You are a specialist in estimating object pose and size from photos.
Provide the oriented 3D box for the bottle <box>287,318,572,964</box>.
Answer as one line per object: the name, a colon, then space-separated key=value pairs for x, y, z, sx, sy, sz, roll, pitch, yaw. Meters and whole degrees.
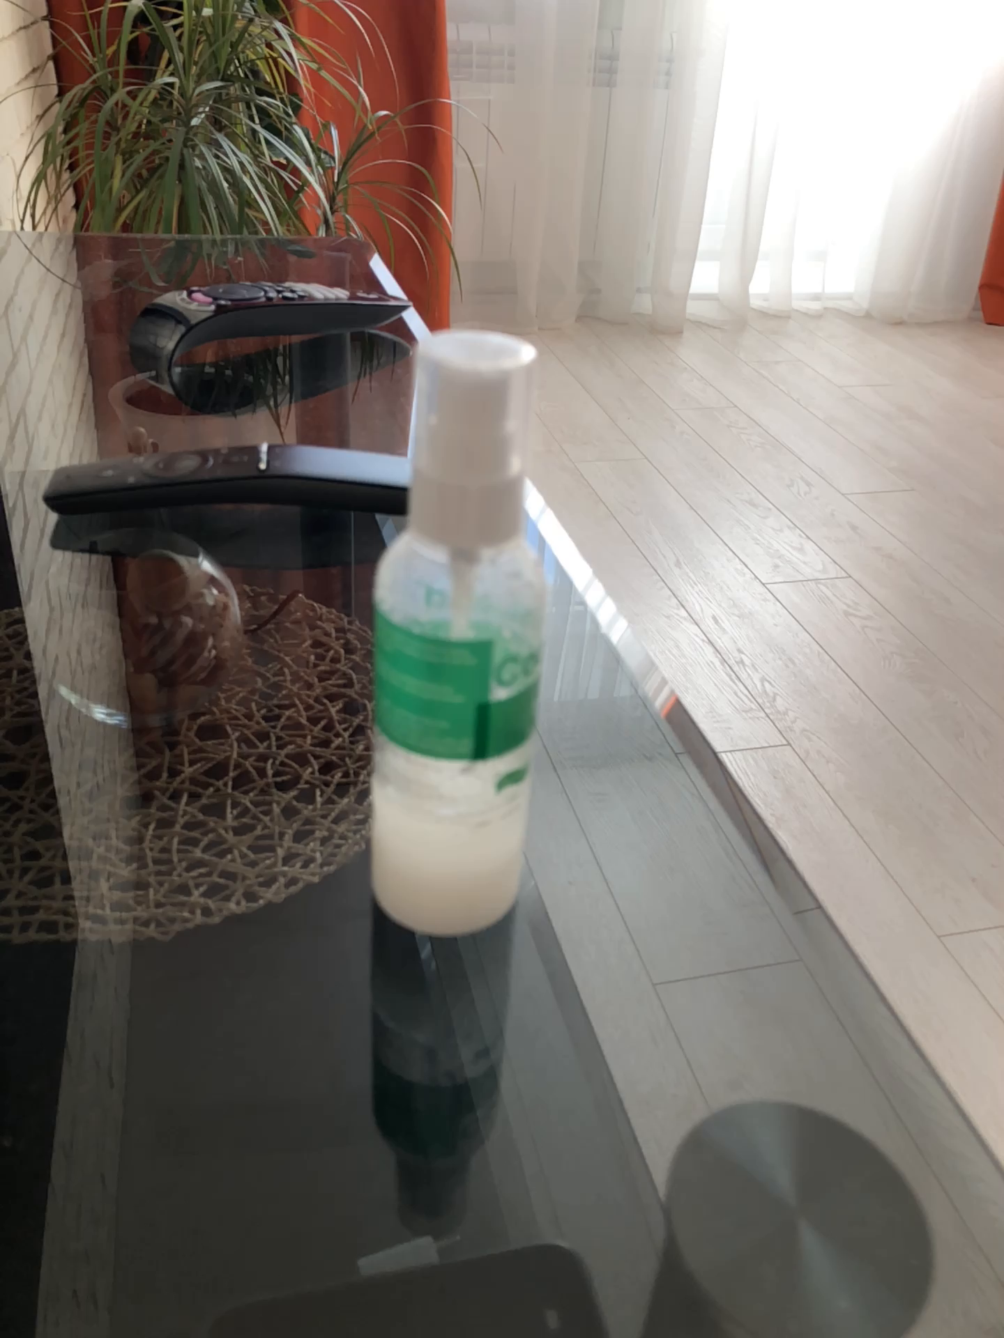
bottle: x=-0.019 y=-0.002 z=0.249 sx=0.050 sy=0.139 sz=0.050 roll=2 pitch=32 yaw=-1
